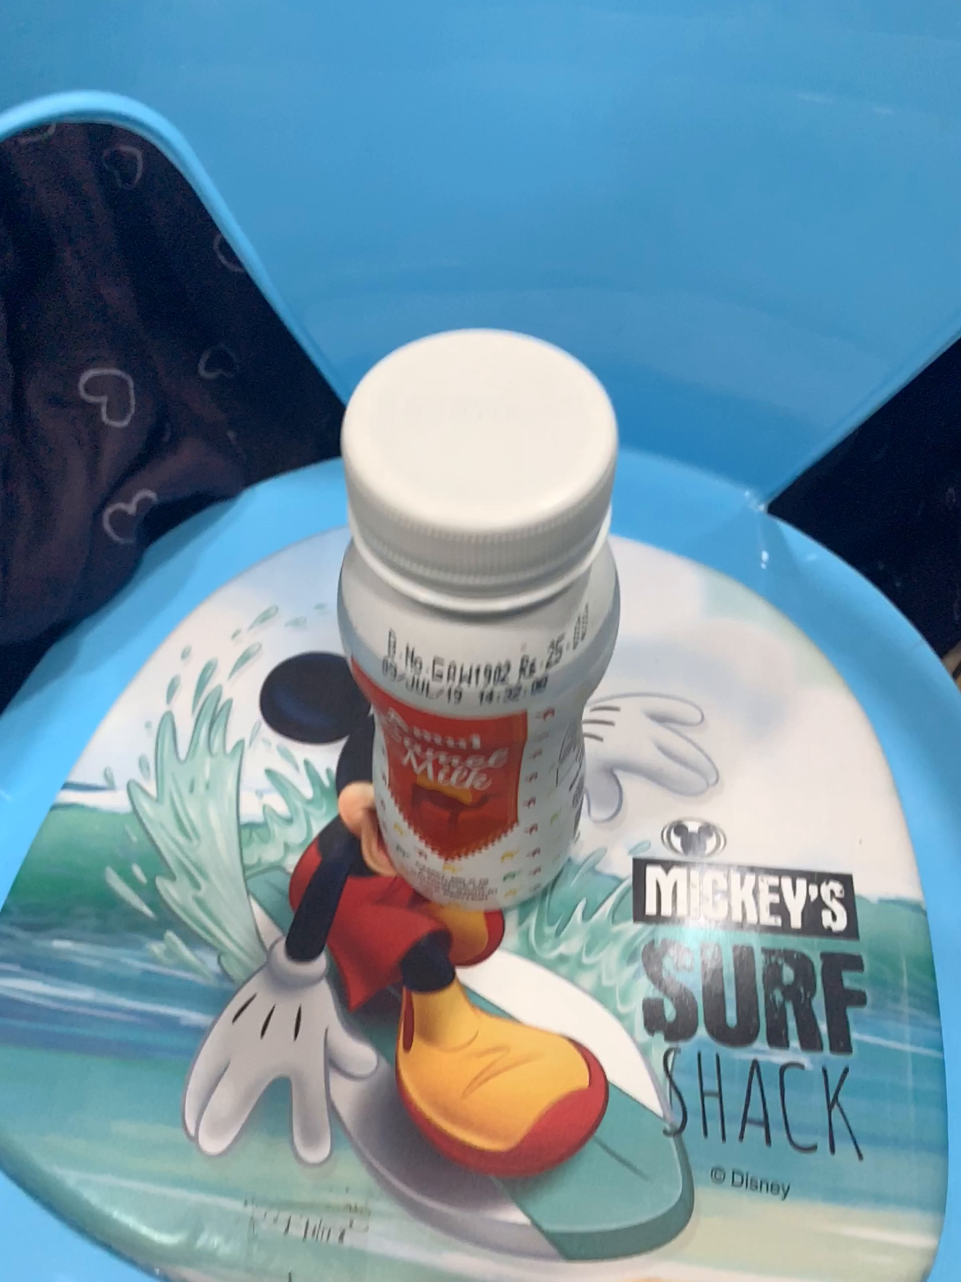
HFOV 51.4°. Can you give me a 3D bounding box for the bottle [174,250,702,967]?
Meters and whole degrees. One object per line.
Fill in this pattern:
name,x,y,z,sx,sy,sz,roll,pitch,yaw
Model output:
bottle,-0.003,0.004,0.197,0.060,0.130,0.060,0,52,0
